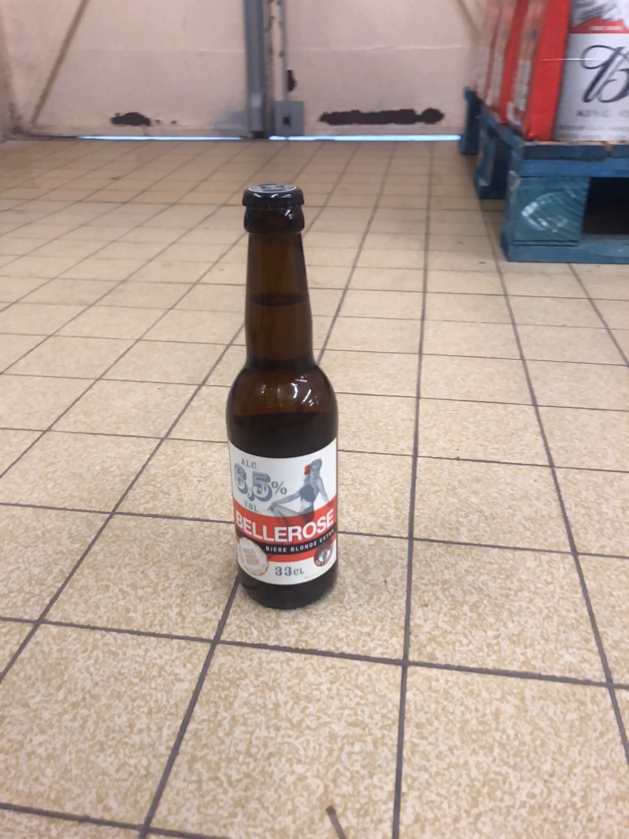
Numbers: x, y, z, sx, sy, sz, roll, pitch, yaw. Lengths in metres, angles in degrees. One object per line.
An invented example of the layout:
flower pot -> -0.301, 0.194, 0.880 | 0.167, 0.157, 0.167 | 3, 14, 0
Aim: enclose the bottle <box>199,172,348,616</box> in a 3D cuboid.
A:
bottle -> -0.017, -0.008, 0.359 | 0.060, 0.219, 0.070 | -2, 27, -3
